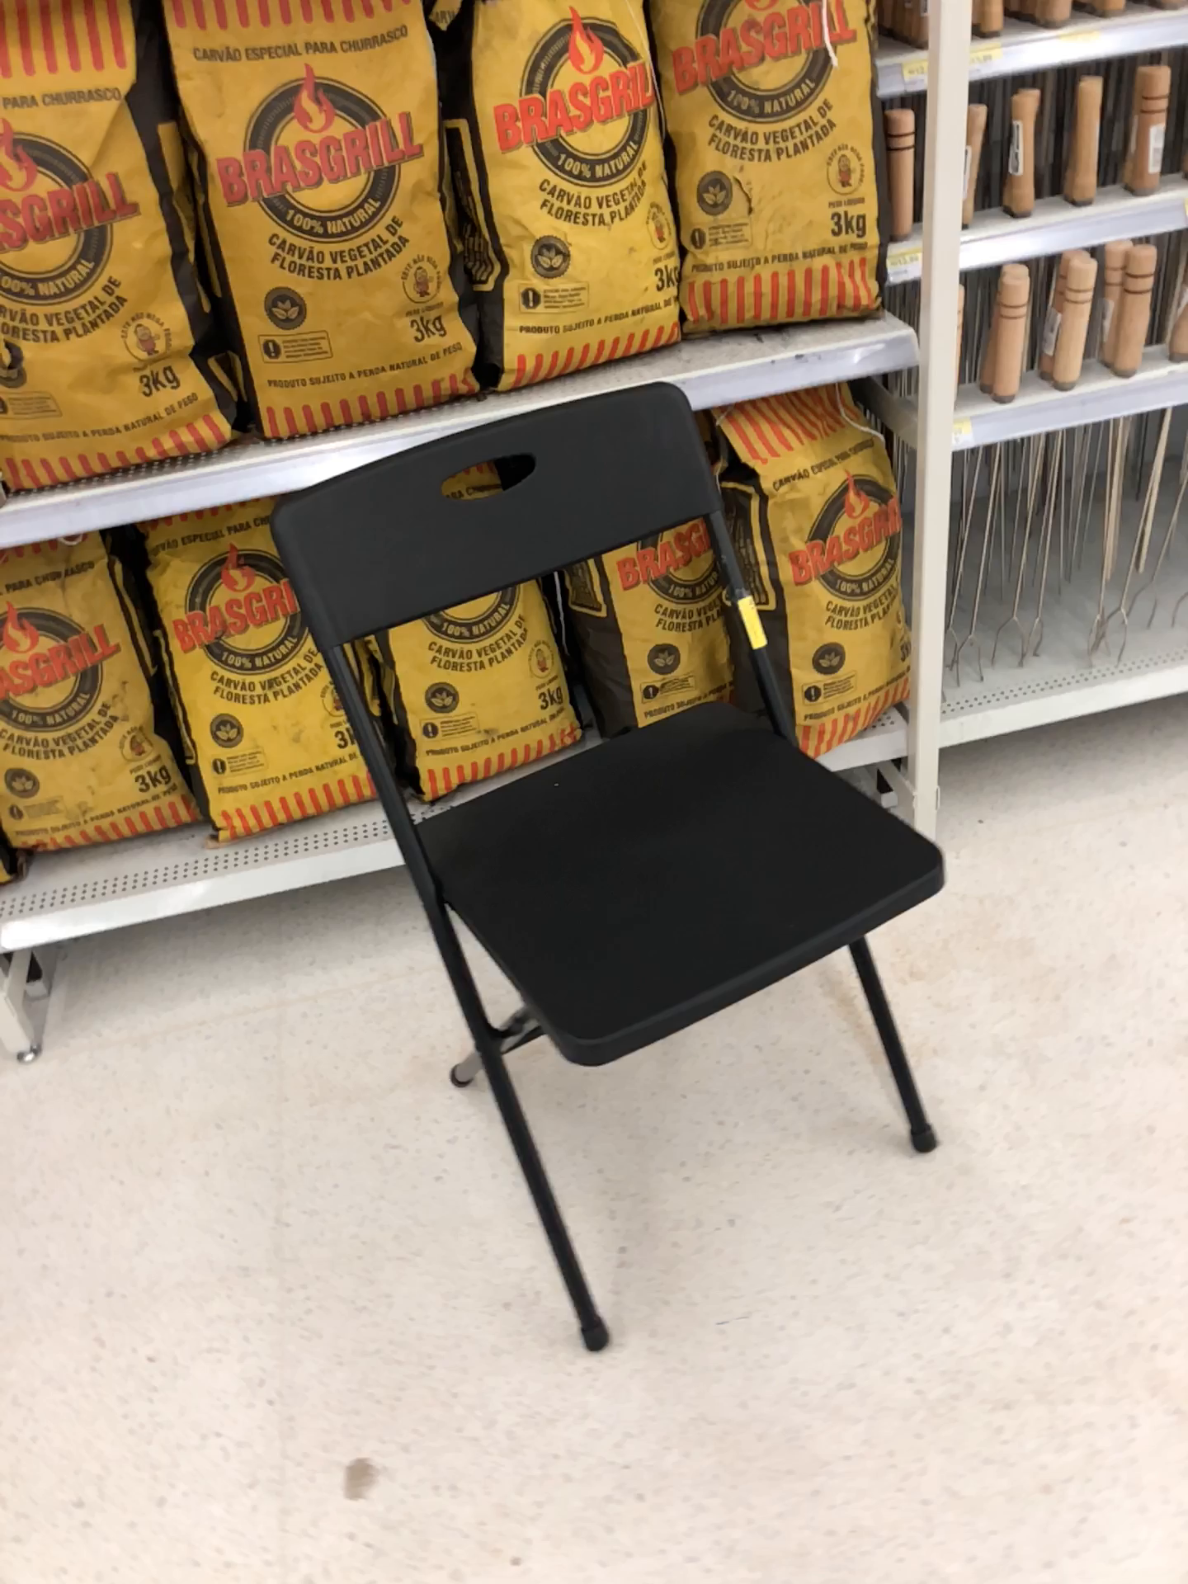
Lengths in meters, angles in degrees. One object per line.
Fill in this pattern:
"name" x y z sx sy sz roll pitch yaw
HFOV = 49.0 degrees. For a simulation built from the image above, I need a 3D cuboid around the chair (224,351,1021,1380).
"chair" 0.039 0.053 1.221 0.461 0.715 0.453 -23 38 -20
